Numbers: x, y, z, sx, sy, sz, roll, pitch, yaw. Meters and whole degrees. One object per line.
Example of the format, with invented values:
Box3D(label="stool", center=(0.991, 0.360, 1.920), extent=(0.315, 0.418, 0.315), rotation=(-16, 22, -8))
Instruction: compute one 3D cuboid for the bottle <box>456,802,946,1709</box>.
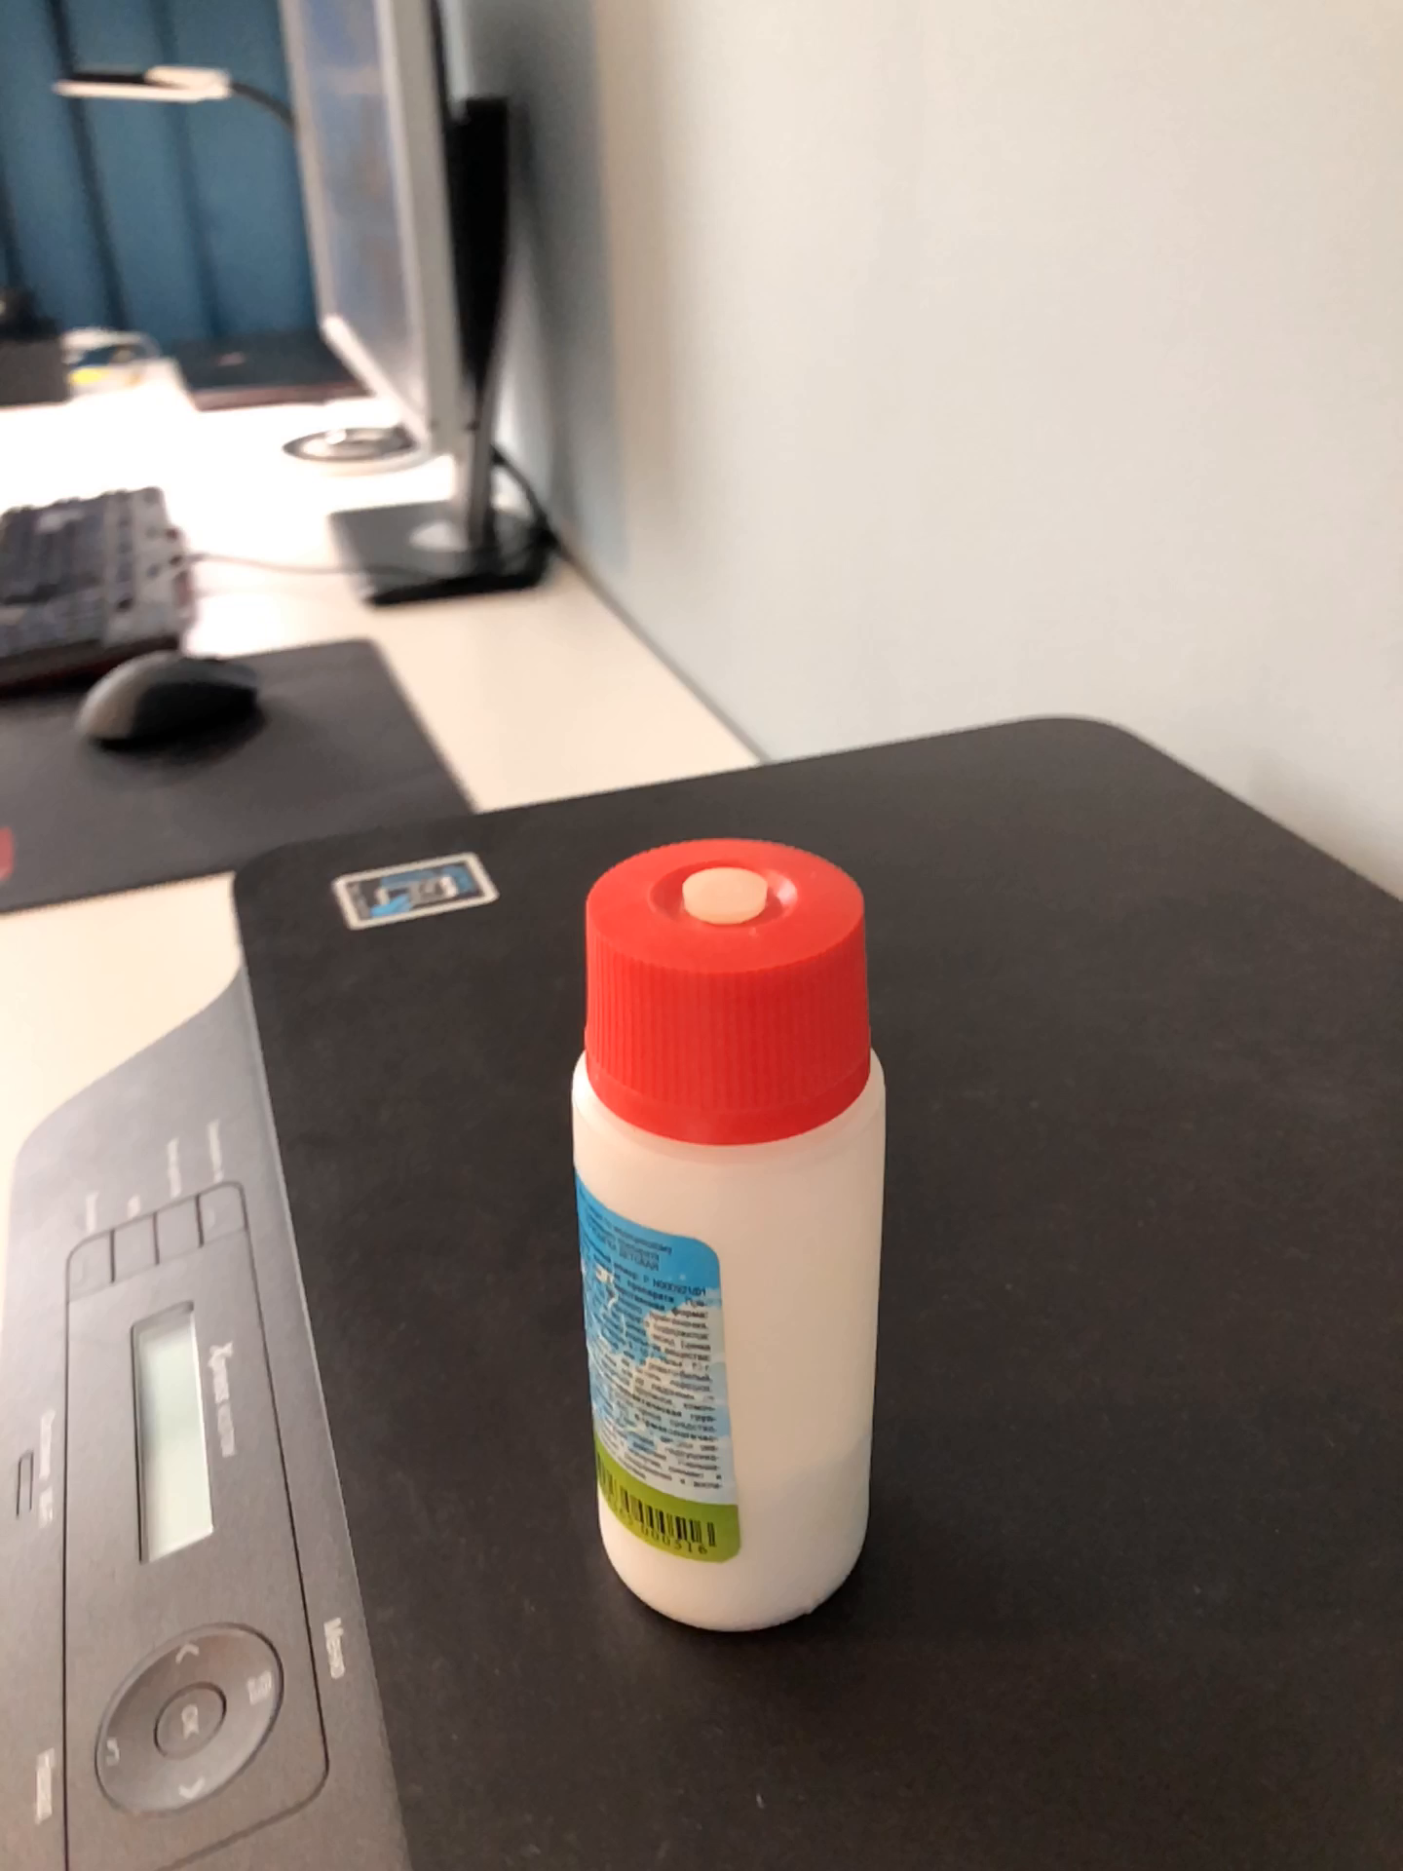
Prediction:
Box3D(label="bottle", center=(0.002, 0.045, 0.219), extent=(0.044, 0.112, 0.042), rotation=(-2, 29, 1))
